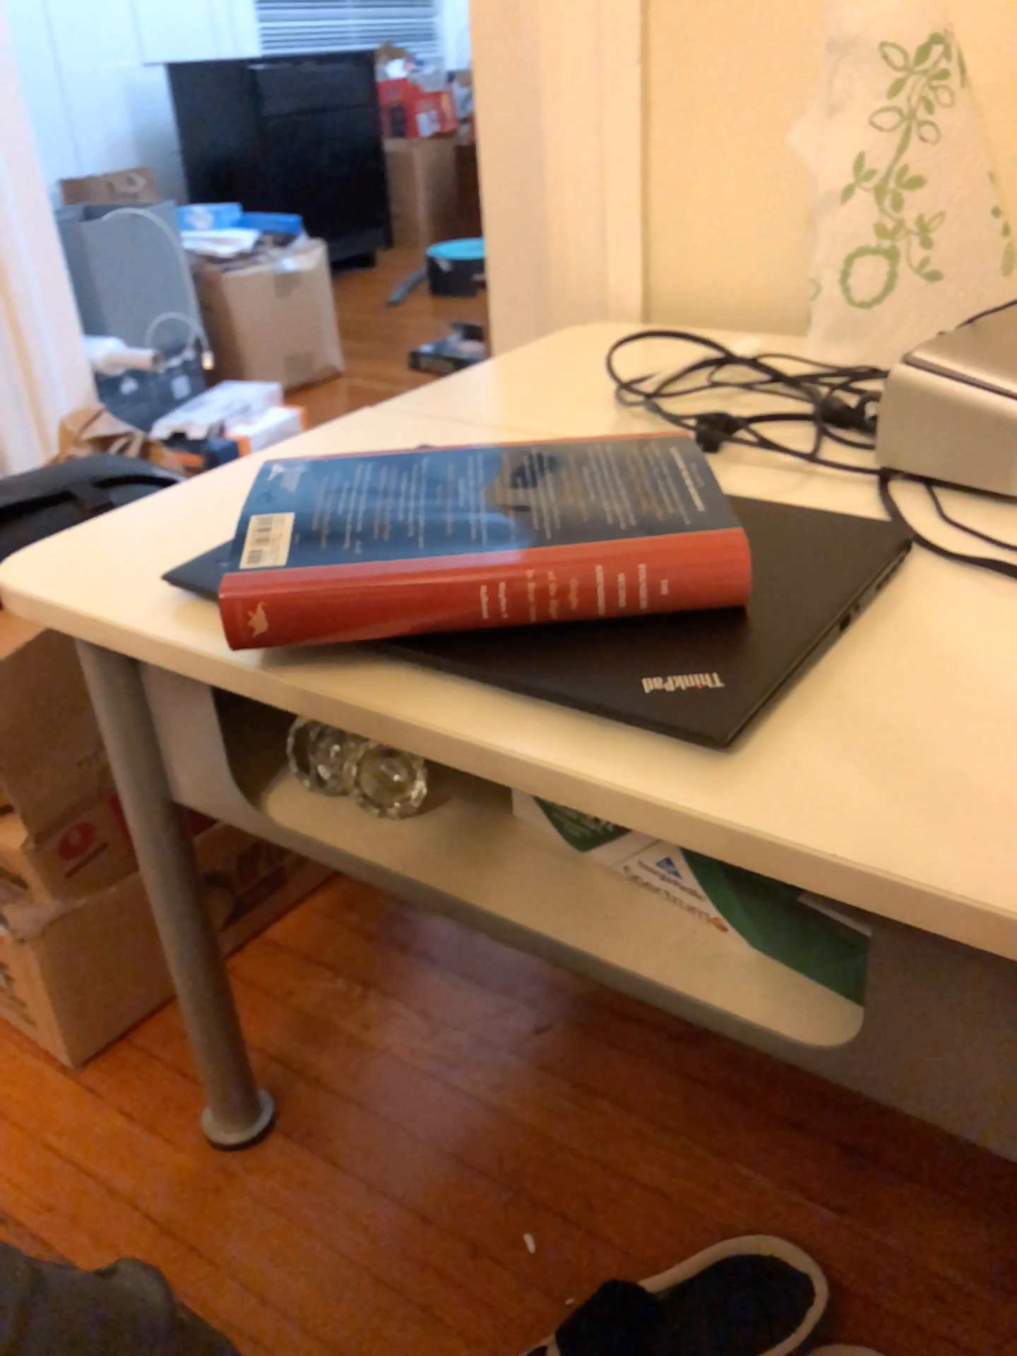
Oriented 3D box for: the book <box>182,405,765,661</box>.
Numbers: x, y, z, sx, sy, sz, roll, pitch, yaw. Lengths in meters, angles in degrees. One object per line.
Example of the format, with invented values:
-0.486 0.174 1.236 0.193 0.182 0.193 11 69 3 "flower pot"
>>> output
-0.015 -0.077 0.546 0.240 0.040 0.171 -6 28 2 "book"
